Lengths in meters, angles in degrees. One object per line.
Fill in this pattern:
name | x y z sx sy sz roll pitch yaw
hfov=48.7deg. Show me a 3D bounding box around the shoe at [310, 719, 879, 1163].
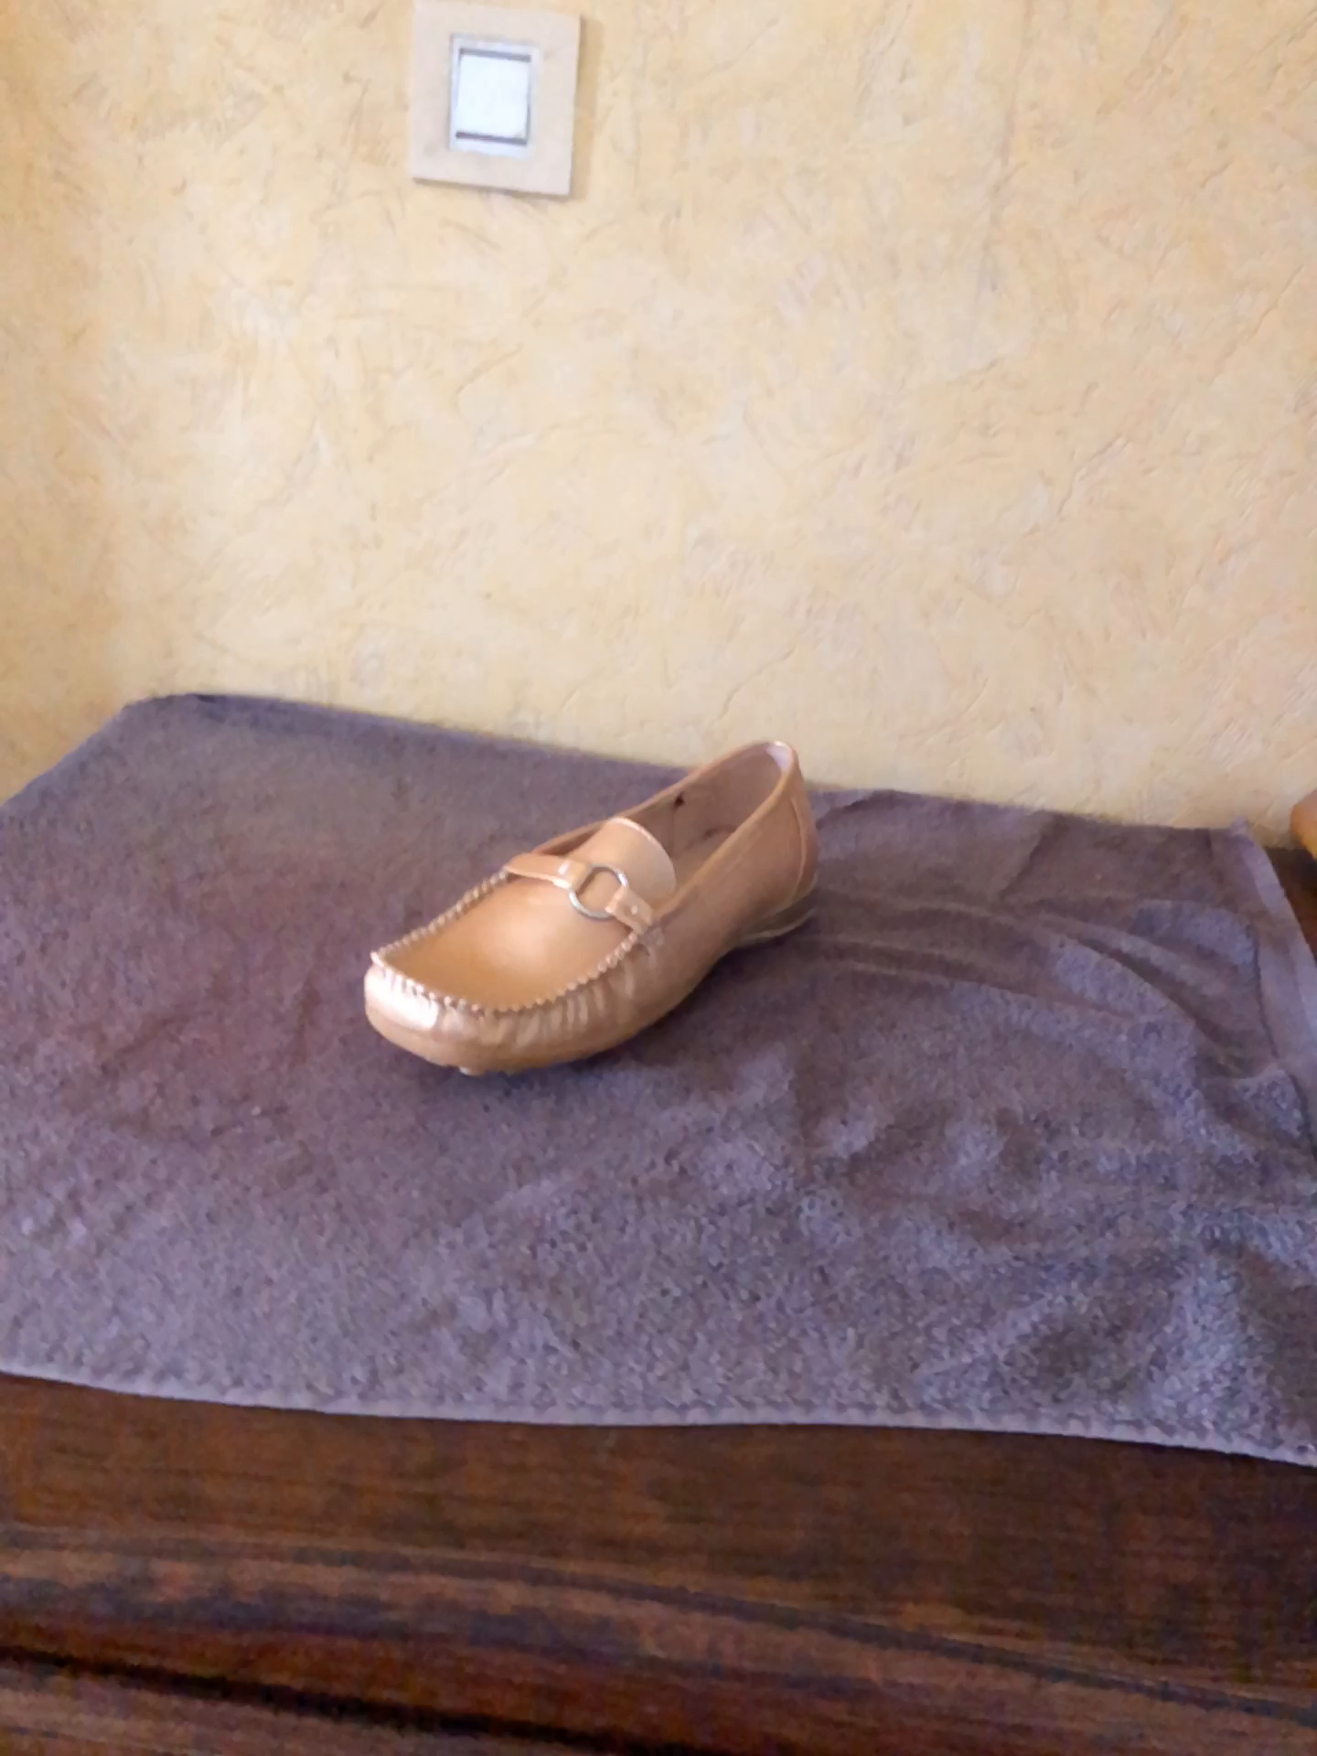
shoe | -0.014 0.010 0.599 0.080 0.080 0.262 23 30 31
